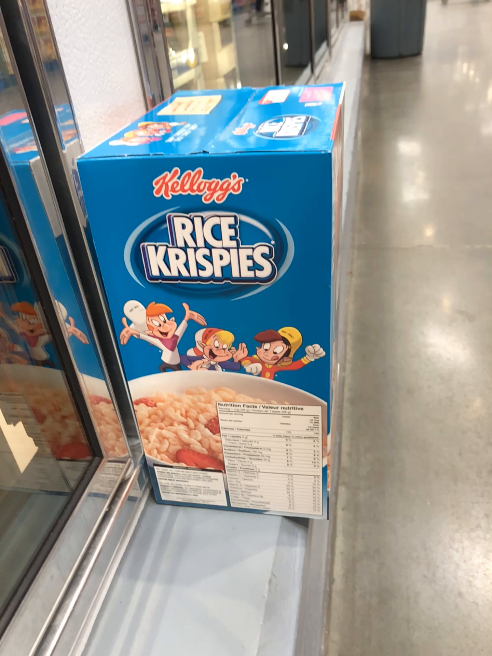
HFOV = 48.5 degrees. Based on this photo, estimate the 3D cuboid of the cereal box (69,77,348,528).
[{"bbox_3d":[0.003,-0.033,0.495,0.160,0.319,0.241,2,32,10],"label":"cereal box"}]
